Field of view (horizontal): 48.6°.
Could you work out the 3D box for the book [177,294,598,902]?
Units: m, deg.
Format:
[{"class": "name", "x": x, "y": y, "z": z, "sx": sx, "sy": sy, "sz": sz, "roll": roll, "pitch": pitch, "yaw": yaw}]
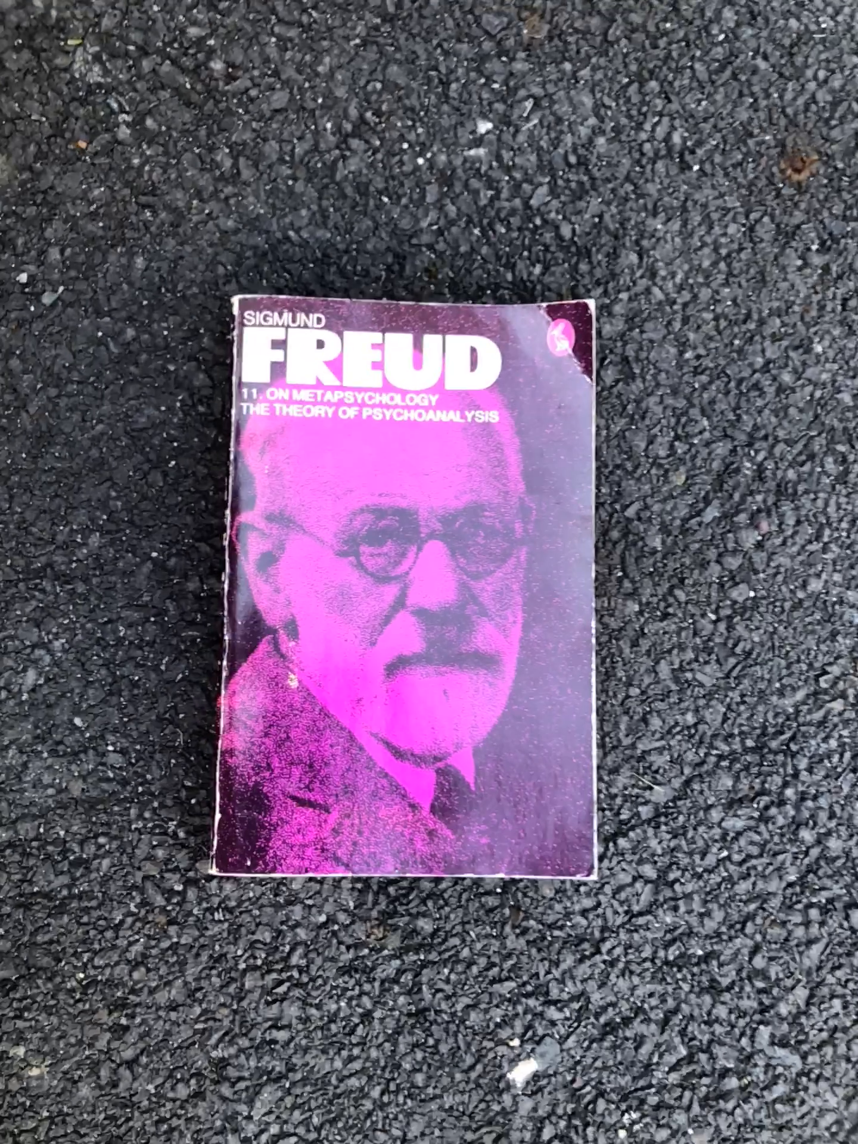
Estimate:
[{"class": "book", "x": -0.011, "y": 0.008, "z": 0.324, "sx": 0.131, "sy": 0.031, "sz": 0.194, "roll": 2, "pitch": 83, "yaw": -4}]
